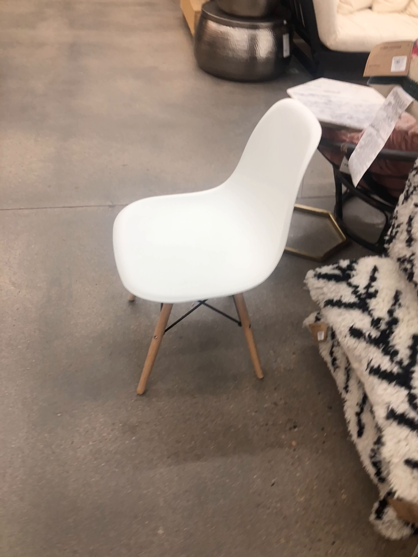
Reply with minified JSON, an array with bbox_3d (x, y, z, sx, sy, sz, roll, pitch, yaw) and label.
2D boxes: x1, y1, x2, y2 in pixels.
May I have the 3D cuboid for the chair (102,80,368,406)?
[{"bbox_3d":[-0.002,-0.073,1.325,0.530,0.806,0.442,-4,44,-10],"label":"chair"}]
